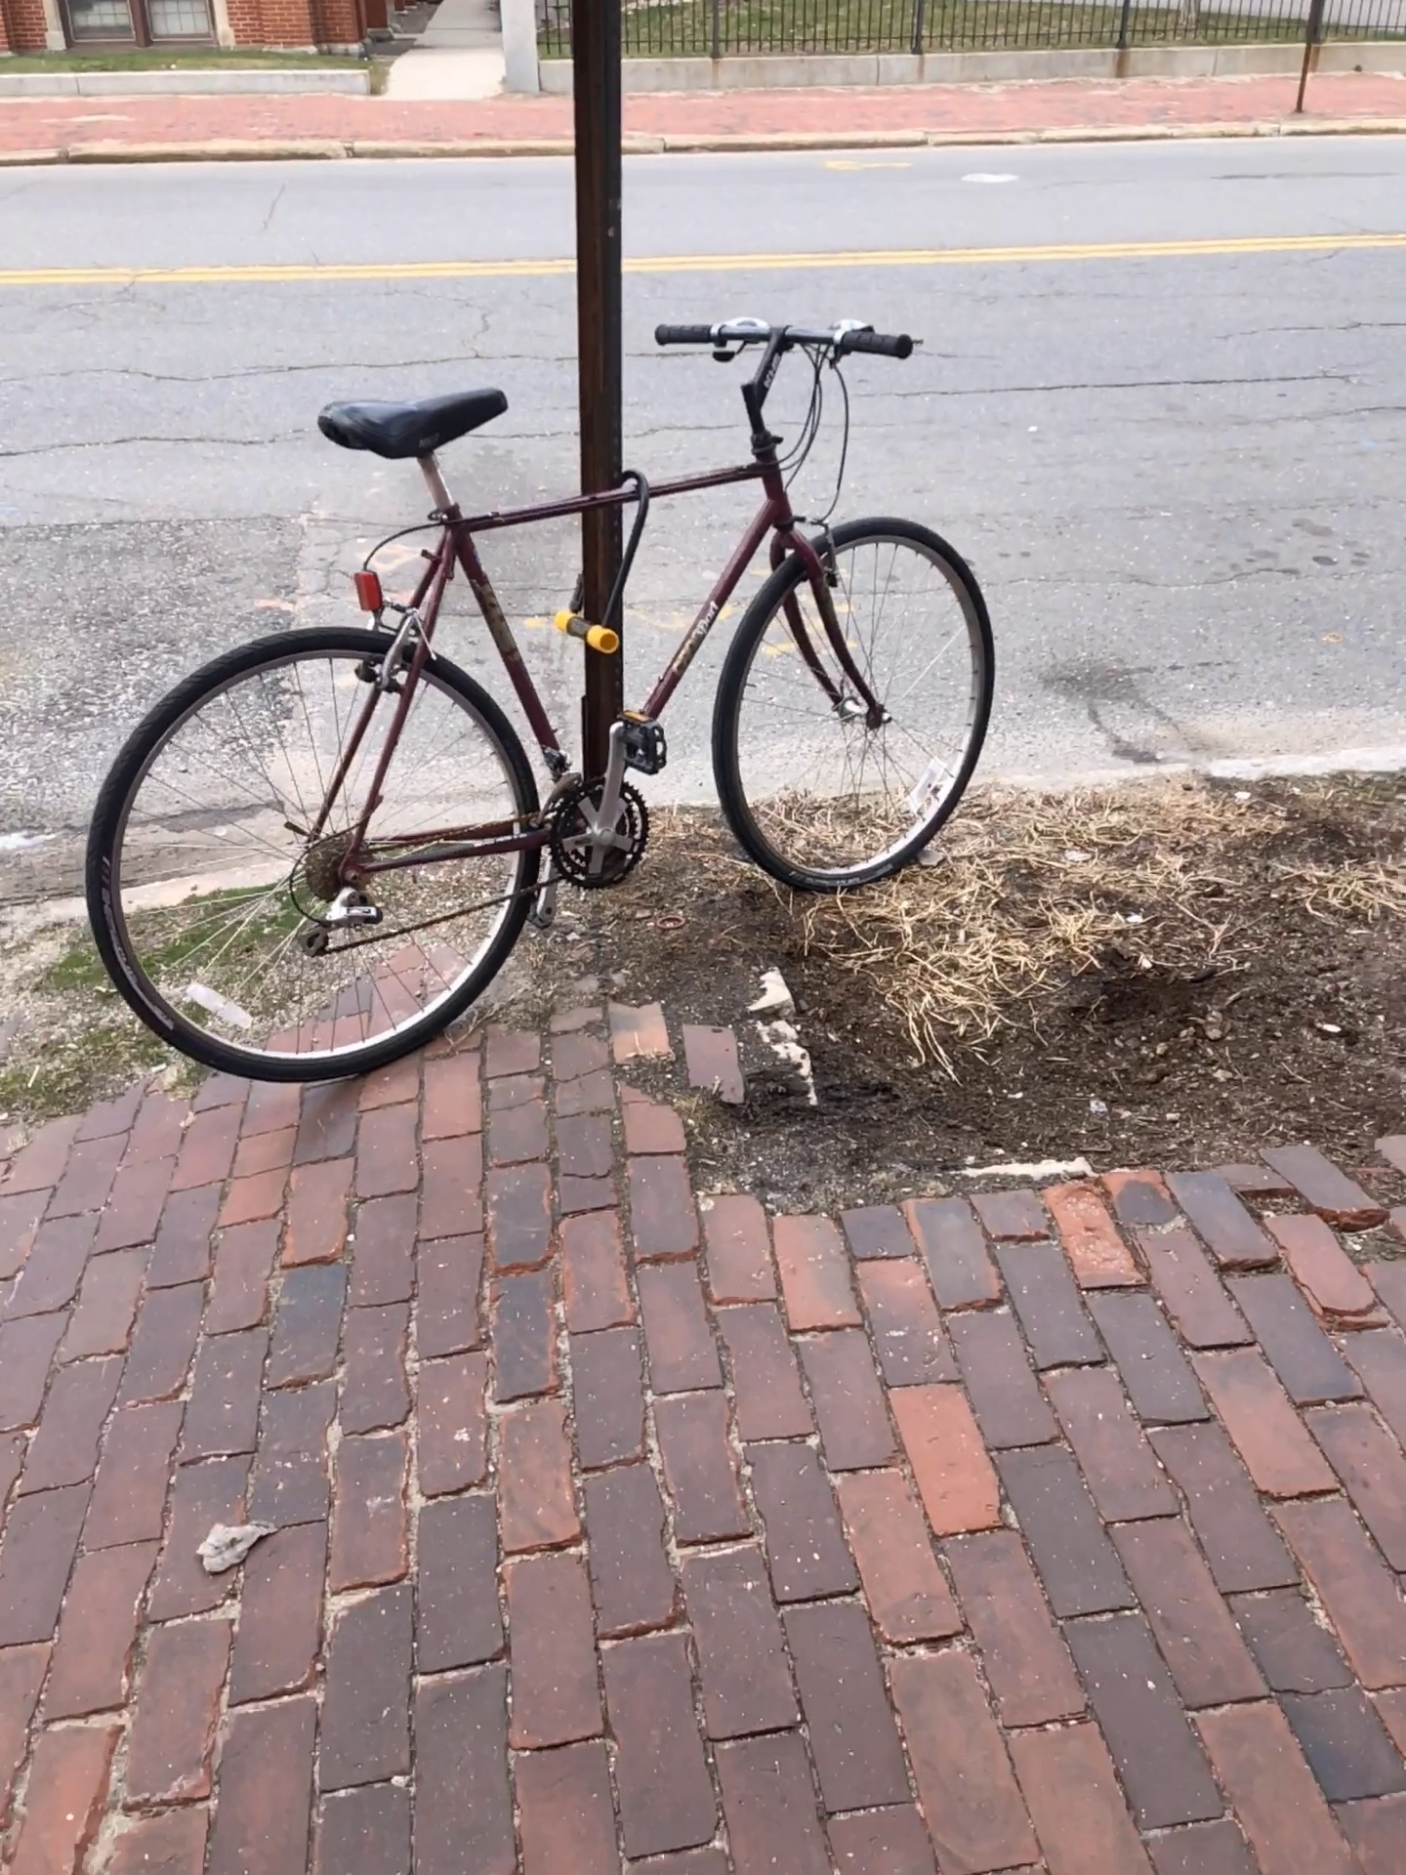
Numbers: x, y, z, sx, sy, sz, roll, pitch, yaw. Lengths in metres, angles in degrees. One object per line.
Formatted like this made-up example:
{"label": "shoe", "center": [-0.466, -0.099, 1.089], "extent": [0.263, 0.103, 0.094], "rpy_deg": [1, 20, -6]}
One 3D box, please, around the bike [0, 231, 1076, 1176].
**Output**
{"label": "bike", "center": [-0.211, -0.497, 2.516], "extent": [1.686, 0.962, 0.556], "rpy_deg": [-23, 38, -30]}
